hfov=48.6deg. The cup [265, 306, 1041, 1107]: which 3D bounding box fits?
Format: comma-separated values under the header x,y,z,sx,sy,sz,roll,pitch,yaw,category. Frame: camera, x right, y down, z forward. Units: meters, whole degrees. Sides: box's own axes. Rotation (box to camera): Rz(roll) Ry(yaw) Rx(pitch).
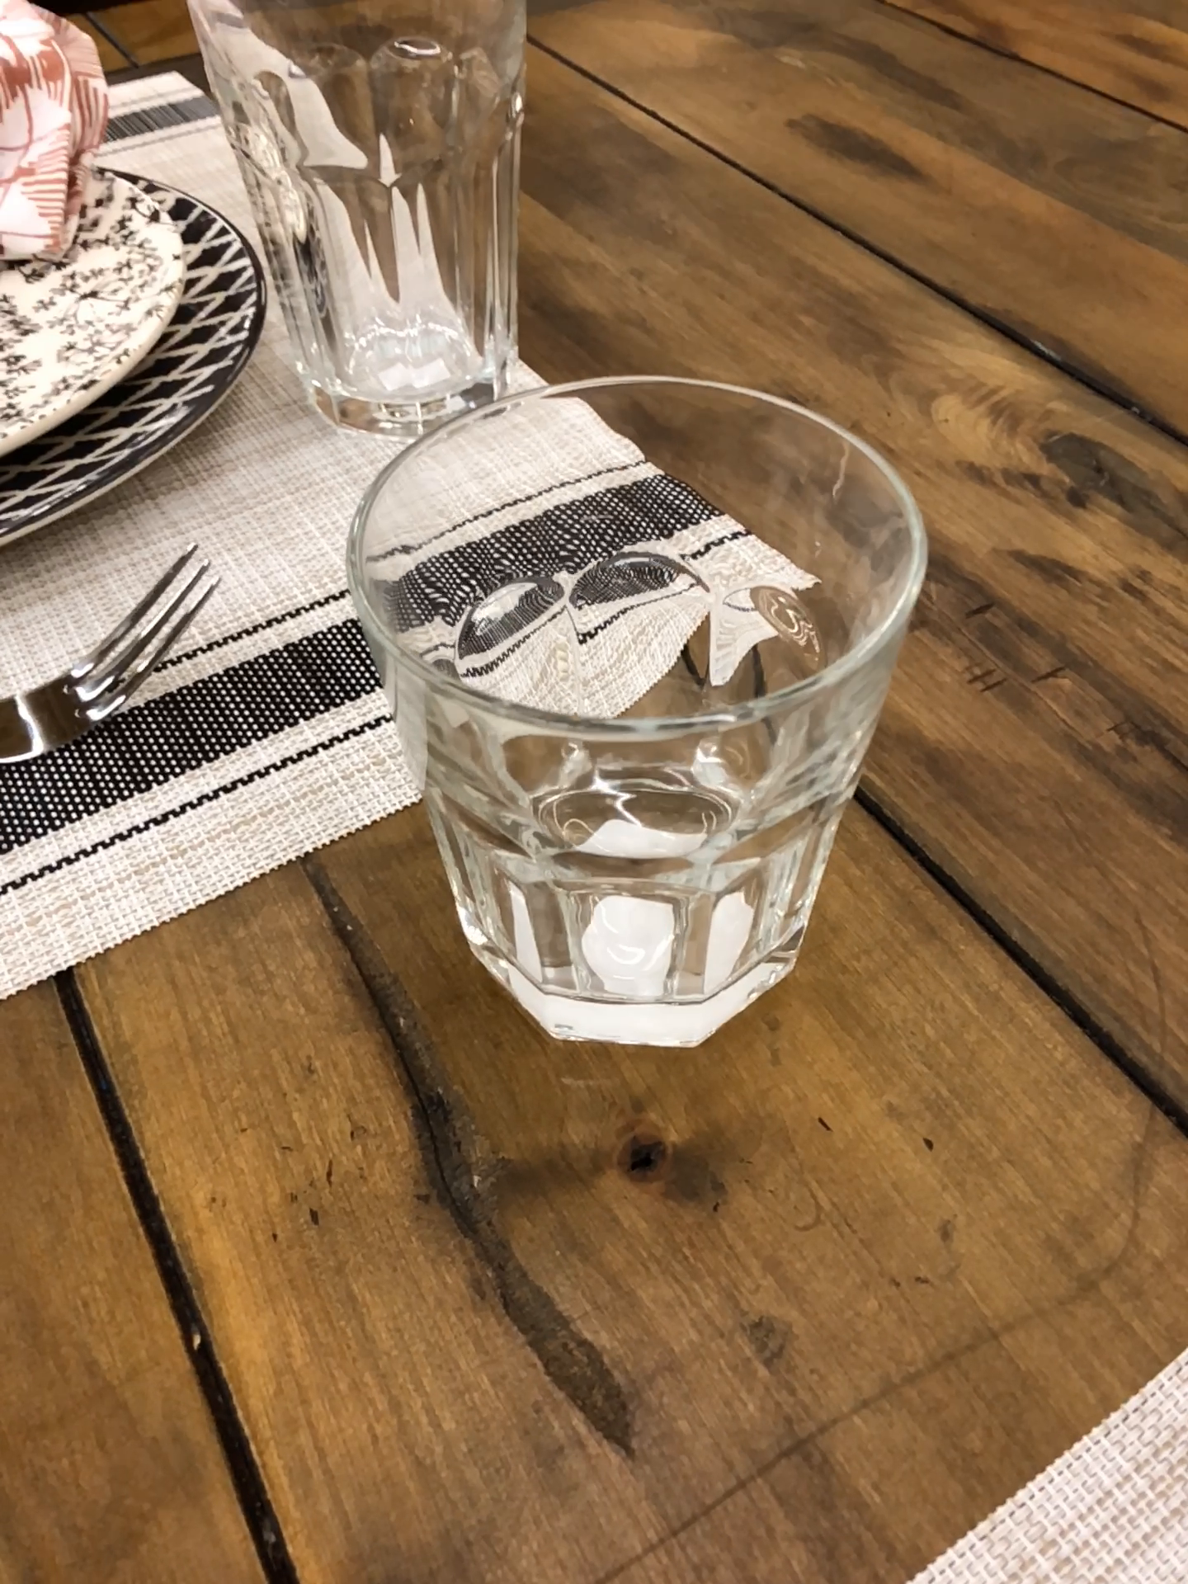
x,y,z,sx,sy,sz,roll,pitch,yaw,category
0.004,-0.017,0.223,0.090,0.081,0.087,-1,47,1,cup
